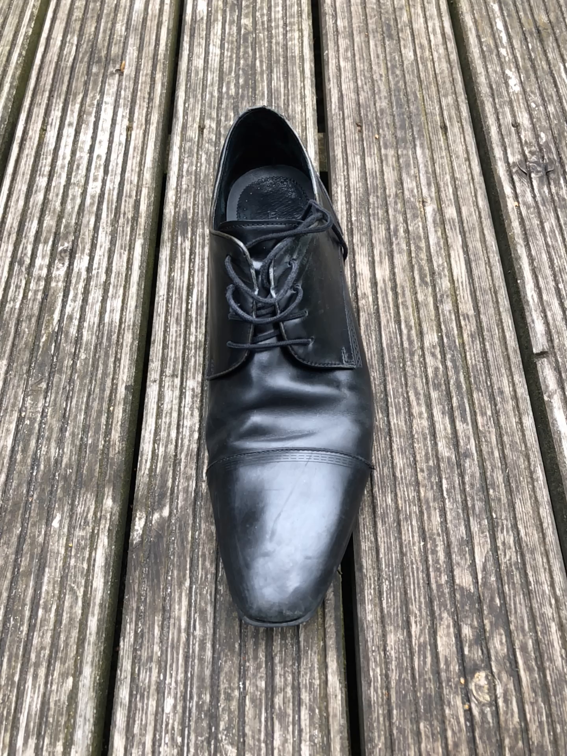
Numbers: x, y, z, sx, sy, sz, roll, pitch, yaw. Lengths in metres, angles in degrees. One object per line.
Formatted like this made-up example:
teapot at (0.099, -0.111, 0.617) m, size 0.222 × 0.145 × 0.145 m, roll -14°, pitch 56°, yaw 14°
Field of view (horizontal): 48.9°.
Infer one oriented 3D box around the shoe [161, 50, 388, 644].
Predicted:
shoe at (-0.007, -0.025, 0.392) m, size 0.090 × 0.149 × 0.341 m, roll -2°, pitch 63°, yaw 0°
